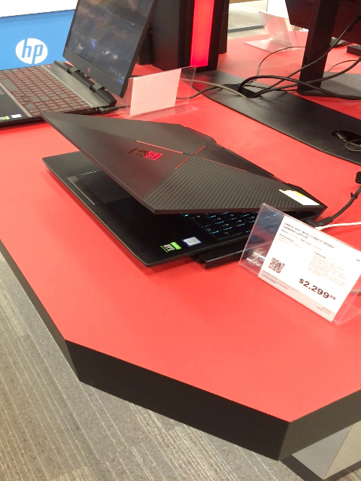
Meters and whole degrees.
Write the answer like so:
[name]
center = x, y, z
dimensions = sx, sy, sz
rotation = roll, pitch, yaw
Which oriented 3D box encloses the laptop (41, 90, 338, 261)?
[laptop]
center = -0.009, -0.116, 0.669
dimensions = 0.257, 0.090, 0.324
rotation = -18, 38, -24
